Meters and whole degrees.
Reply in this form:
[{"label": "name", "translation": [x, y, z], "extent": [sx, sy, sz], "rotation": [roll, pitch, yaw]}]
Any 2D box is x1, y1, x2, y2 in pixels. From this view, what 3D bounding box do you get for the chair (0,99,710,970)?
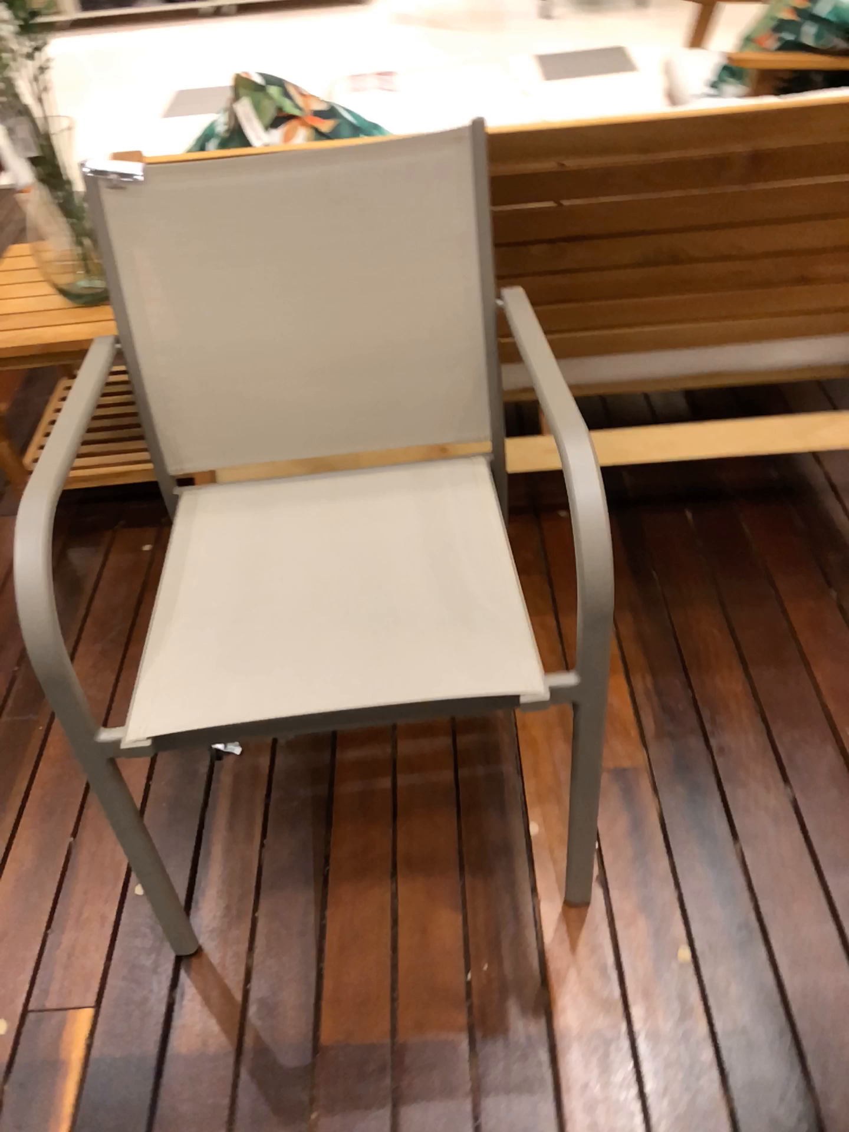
[{"label": "chair", "translation": [-0.098, -0.018, 1.139], "extent": [0.620, 0.794, 0.615], "rotation": [-6, 42, 1]}]
